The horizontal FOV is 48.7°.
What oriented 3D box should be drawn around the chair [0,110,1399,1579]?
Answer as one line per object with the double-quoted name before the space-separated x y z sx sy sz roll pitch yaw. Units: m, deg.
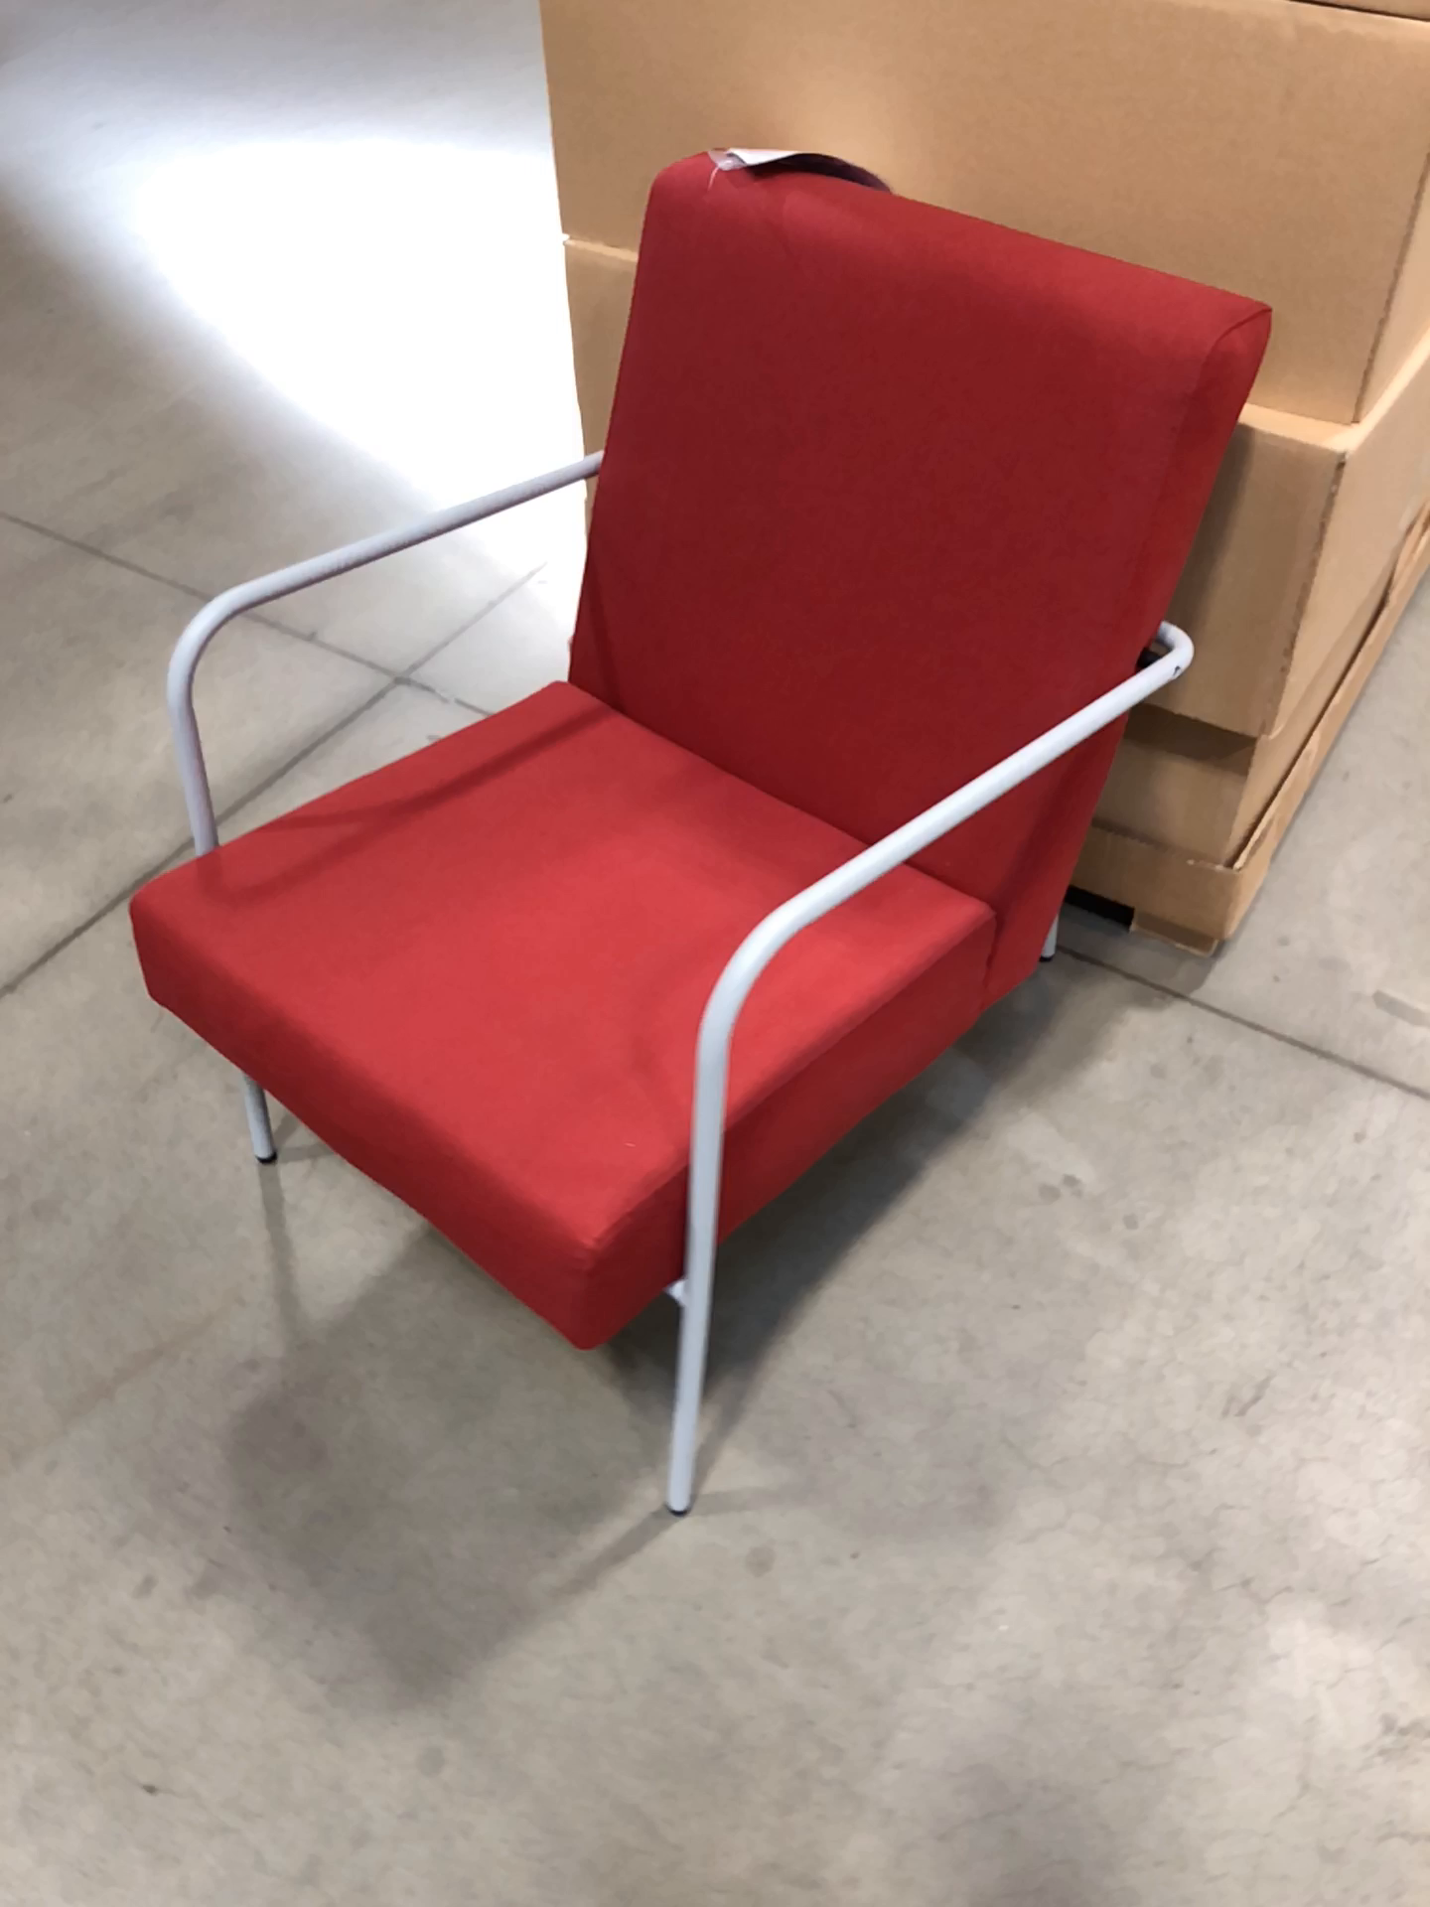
"chair" -0.010 -0.125 1.287 0.631 0.708 0.761 31 56 28
